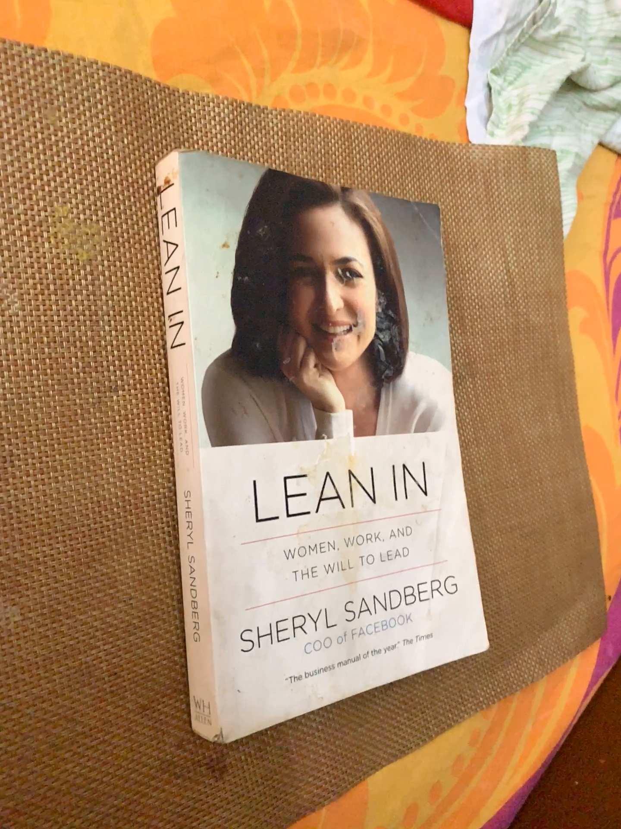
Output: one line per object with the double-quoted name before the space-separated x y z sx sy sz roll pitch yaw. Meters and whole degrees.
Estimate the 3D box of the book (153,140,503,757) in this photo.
"book" 0.013 0.007 0.273 0.141 0.026 0.212 -1 84 -35
